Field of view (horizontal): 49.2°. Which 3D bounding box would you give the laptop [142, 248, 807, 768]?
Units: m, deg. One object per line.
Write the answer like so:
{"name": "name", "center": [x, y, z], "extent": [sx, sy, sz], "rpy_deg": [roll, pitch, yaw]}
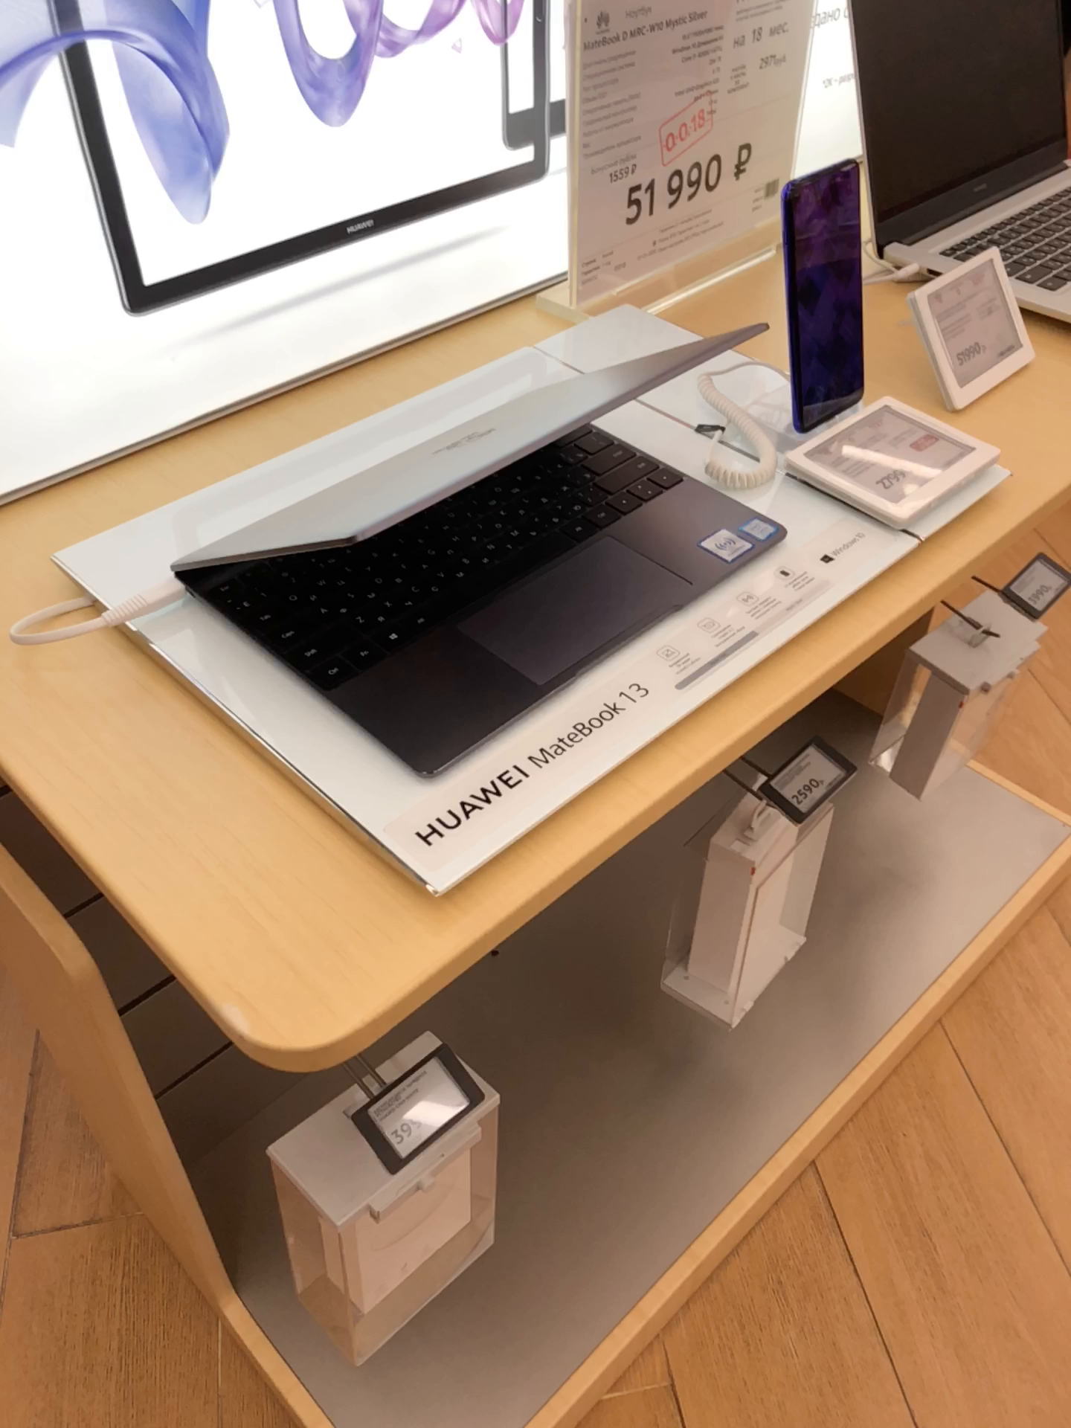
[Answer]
{"name": "laptop", "center": [-0.025, -0.130, 0.623], "extent": [0.272, 0.106, 0.204], "rpy_deg": [-33, 53, -32]}
